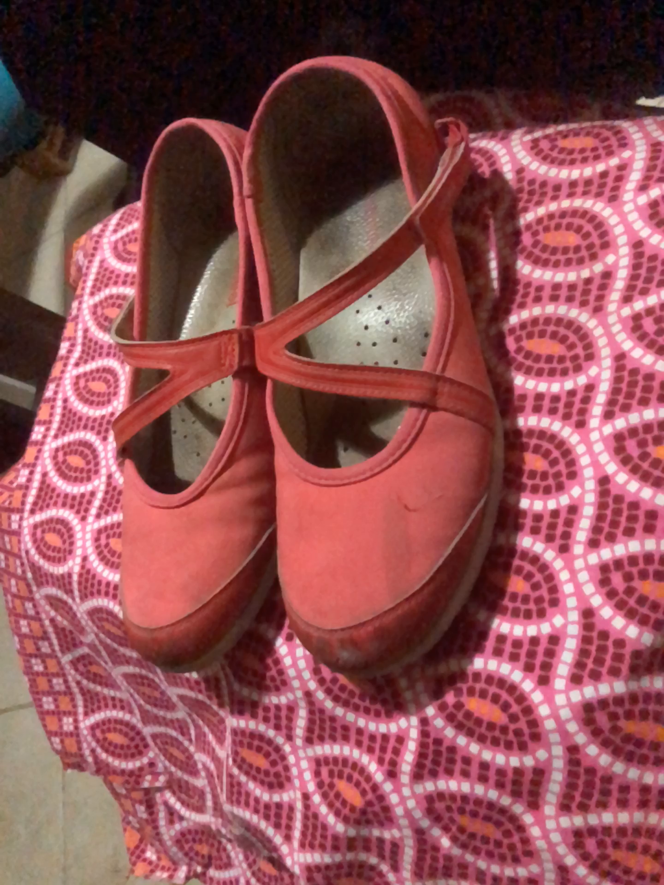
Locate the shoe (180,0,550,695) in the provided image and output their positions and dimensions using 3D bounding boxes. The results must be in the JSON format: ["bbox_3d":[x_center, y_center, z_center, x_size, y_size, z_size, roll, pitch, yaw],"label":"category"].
[{"bbox_3d":[0.016,-0.046,0.334,0.110,0.100,0.300,-11,69,31],"label":"shoe"}]

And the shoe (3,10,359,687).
[{"bbox_3d":[-0.061,-0.036,0.358,0.110,0.100,0.290,-10,70,32],"label":"shoe"}]
